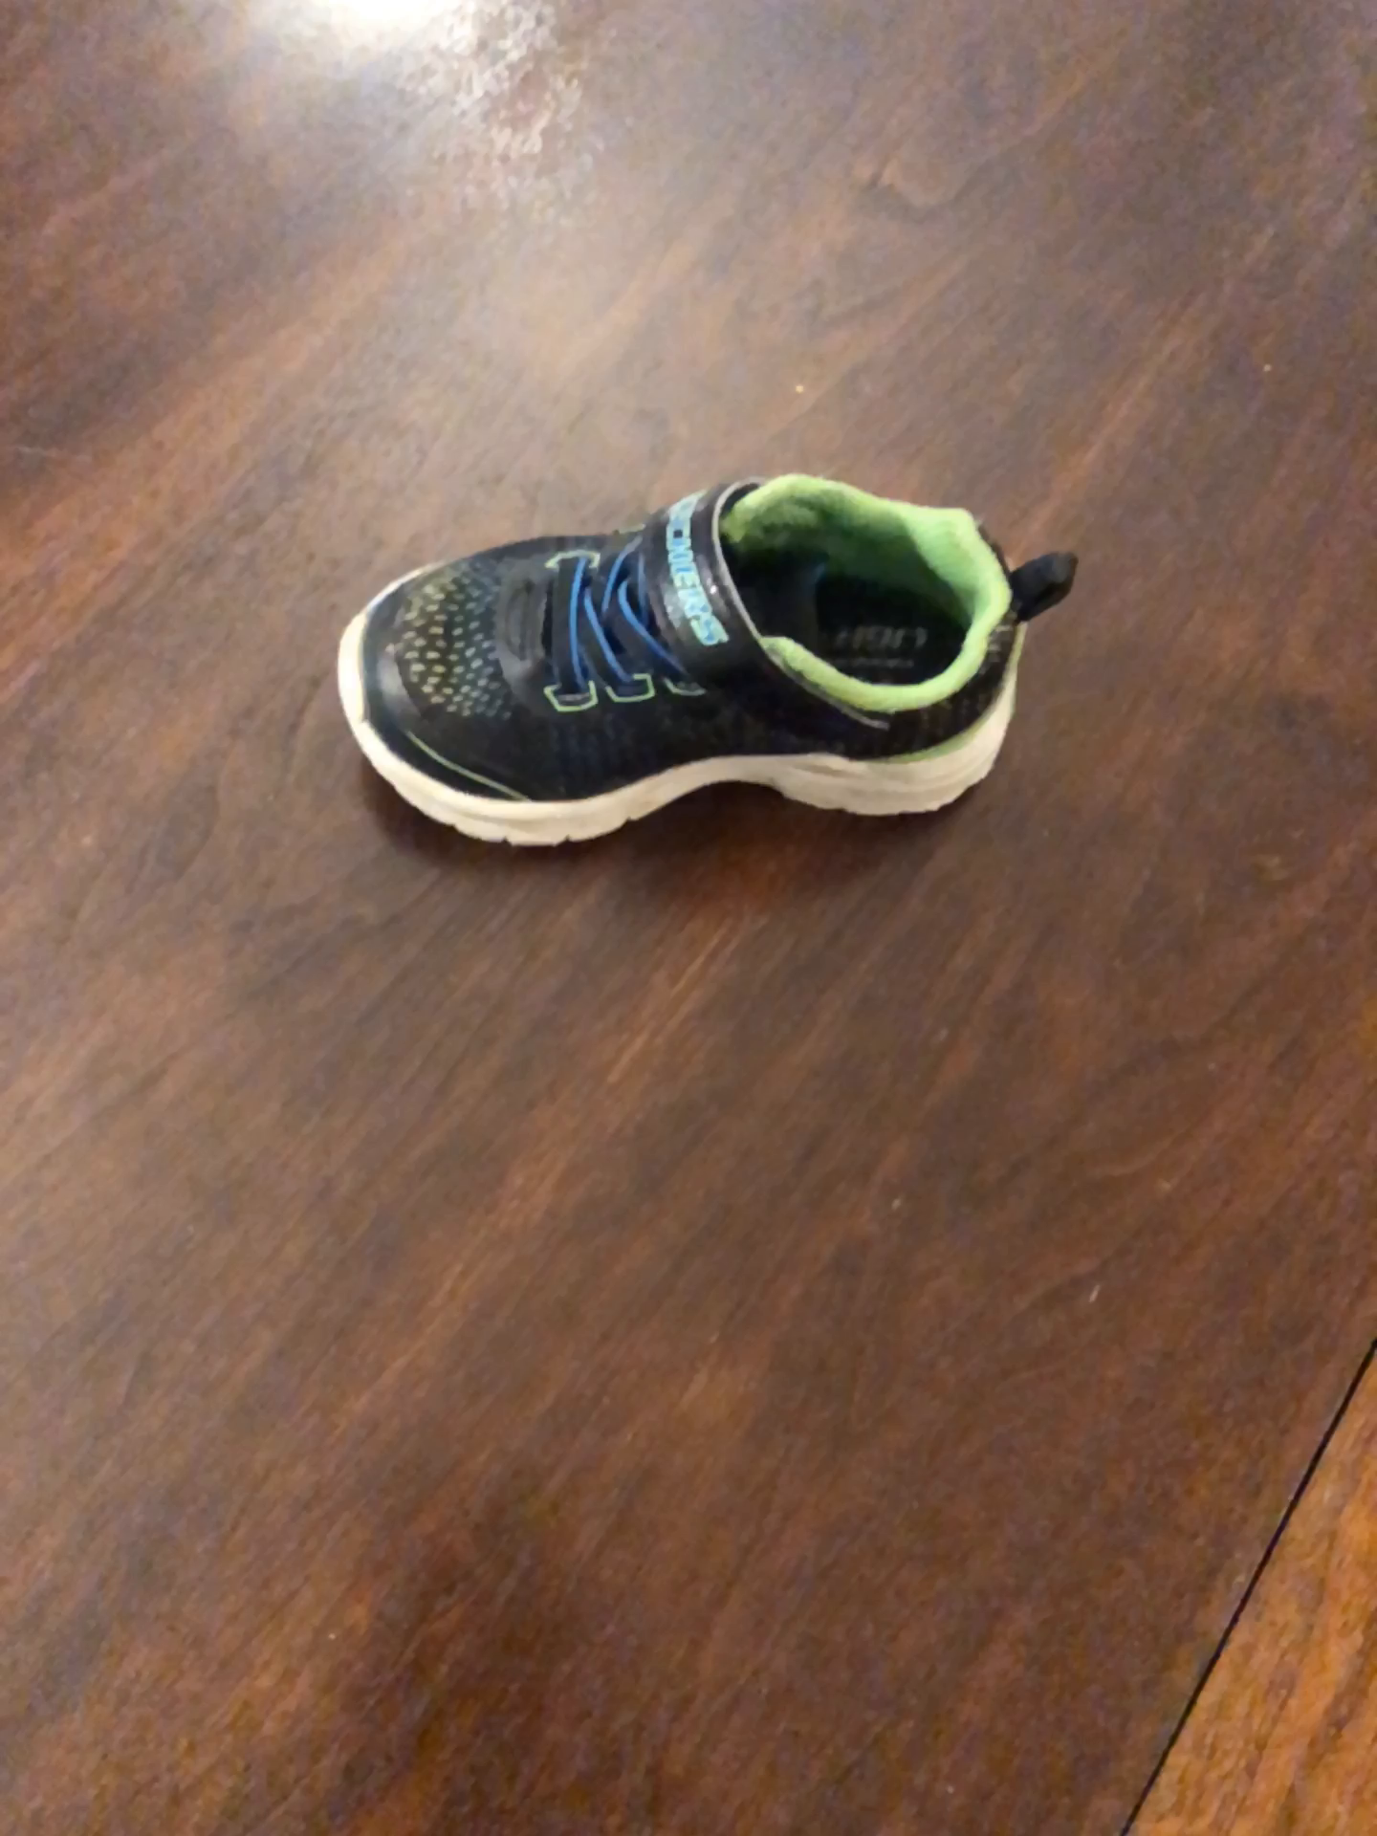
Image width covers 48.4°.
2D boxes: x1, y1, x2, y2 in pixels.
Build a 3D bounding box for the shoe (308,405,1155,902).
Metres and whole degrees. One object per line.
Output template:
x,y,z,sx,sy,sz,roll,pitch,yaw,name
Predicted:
0.004,-0.059,0.356,0.170,0.080,0.080,-3,69,-8,shoe
